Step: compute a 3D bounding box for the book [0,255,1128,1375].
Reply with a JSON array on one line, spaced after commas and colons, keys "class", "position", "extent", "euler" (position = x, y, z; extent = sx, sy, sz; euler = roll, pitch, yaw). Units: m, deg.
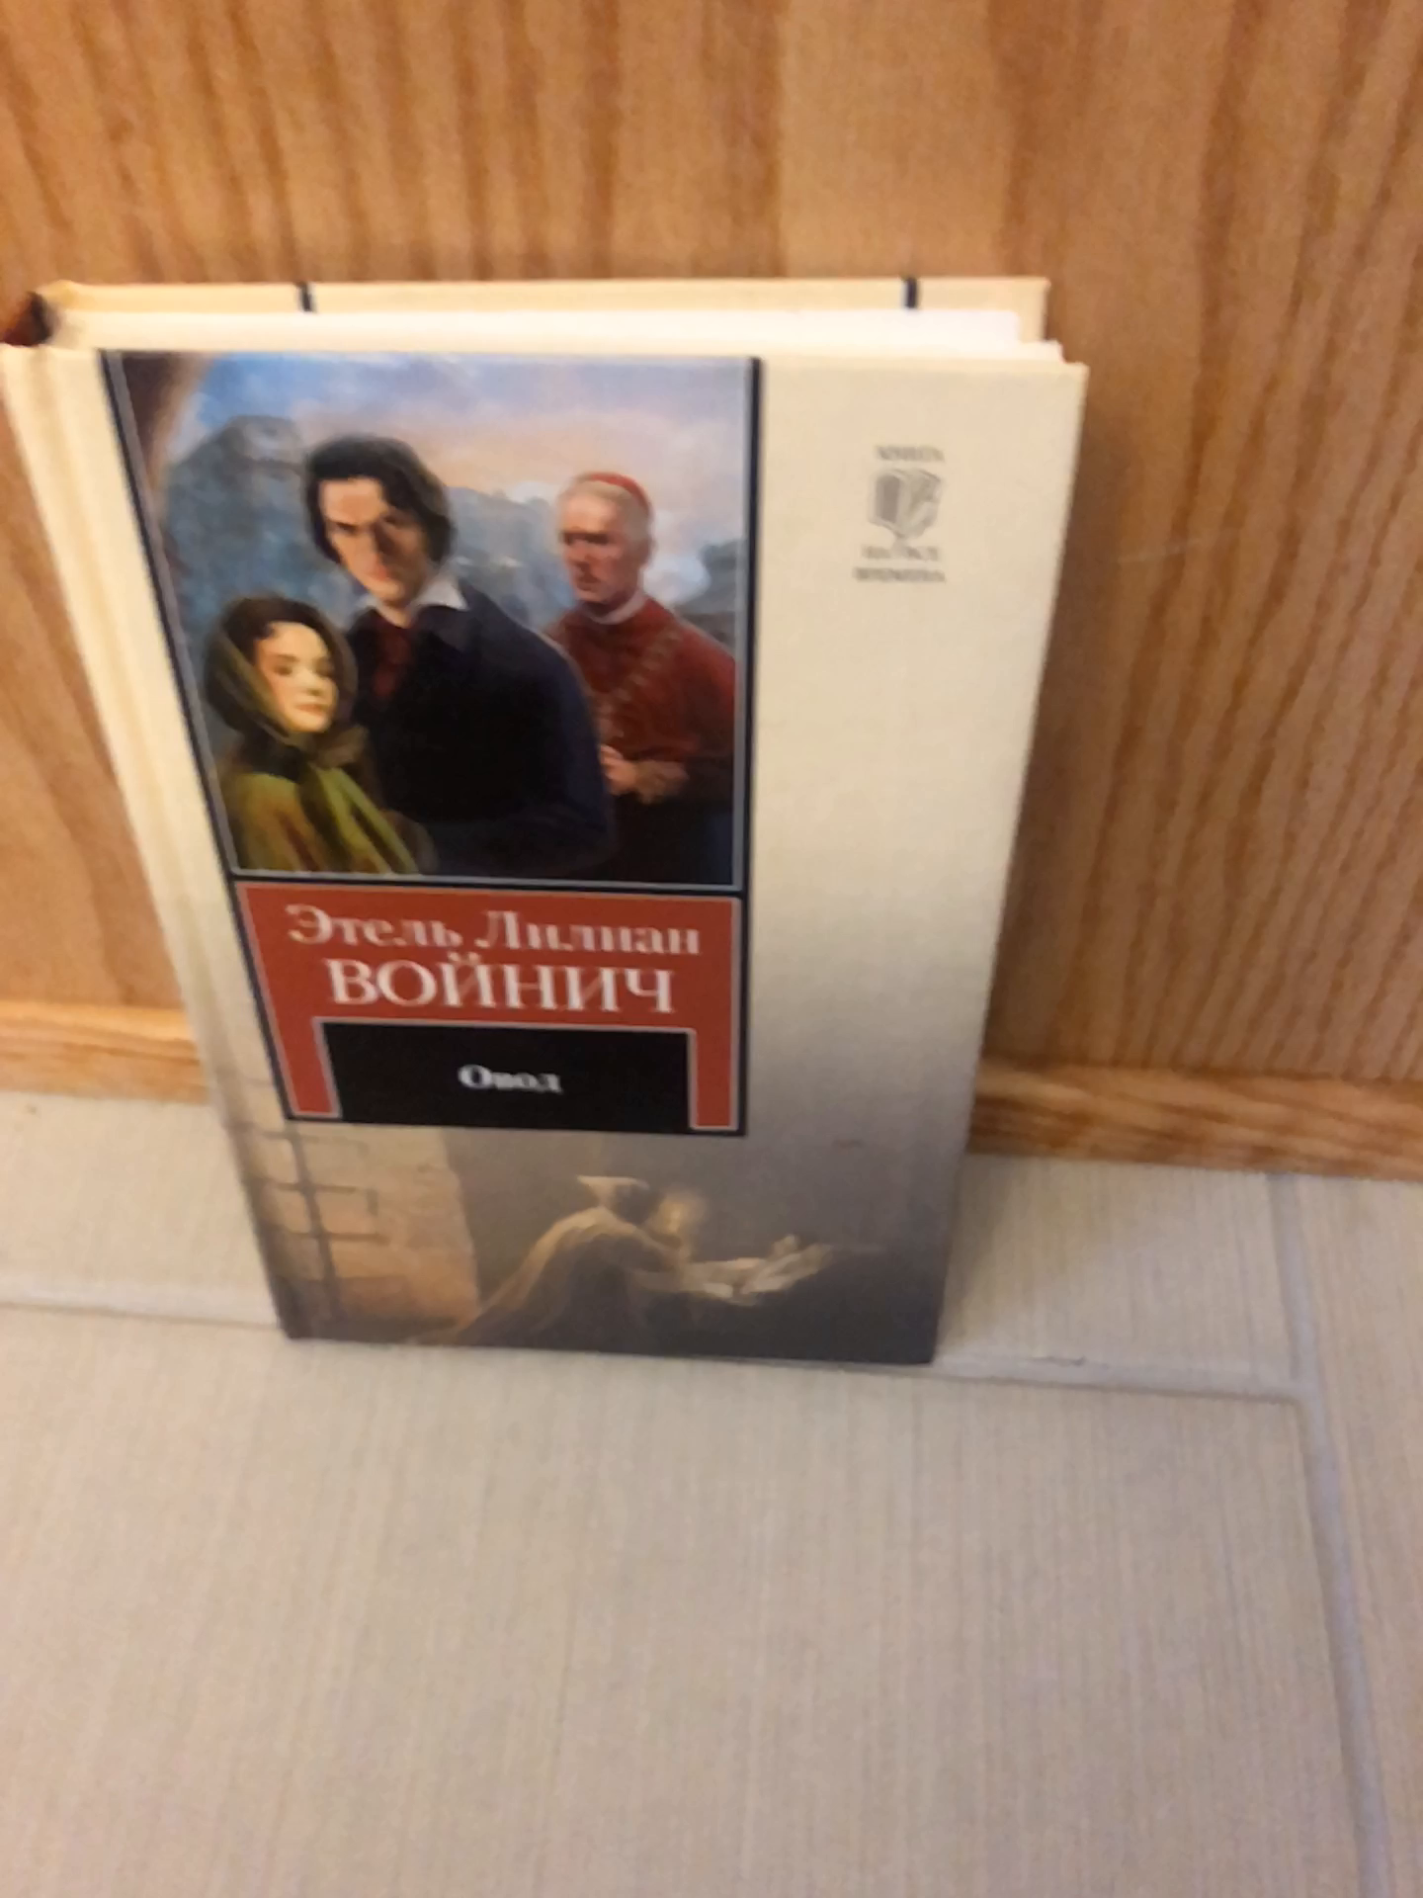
[{"class": "book", "position": [-0.020, -0.004, 0.267], "extent": [0.139, 0.202, 0.030], "euler": [2, 41, 3]}]
